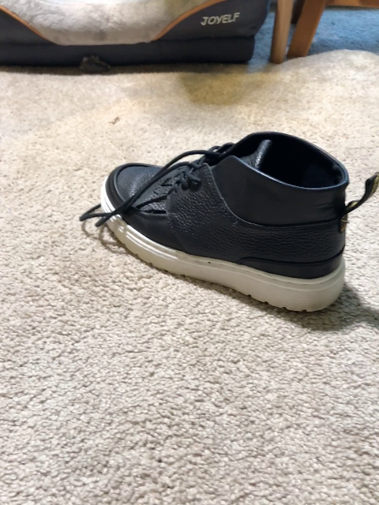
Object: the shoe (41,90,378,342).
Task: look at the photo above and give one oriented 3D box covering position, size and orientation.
[{"bbox_3d":[0.010,-0.047,0.380,0.262,0.111,0.107,24,49,23],"label":"shoe"}]
